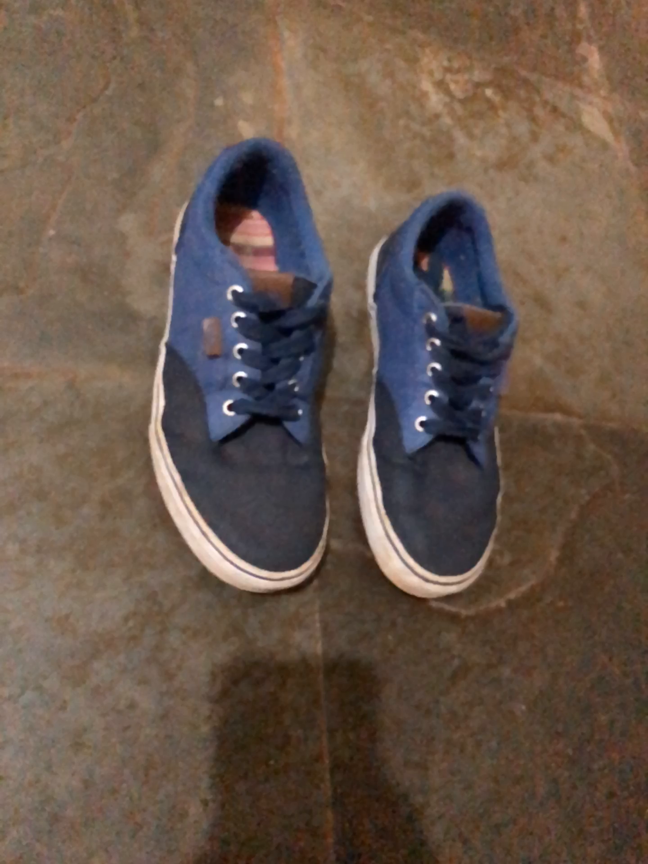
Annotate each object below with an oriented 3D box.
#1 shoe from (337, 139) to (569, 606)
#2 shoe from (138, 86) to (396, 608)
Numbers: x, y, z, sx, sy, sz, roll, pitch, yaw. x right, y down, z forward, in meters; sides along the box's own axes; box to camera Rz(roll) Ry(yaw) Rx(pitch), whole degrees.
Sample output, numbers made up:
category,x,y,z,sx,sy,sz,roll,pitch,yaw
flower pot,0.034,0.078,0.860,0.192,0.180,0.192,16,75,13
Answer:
category,x,y,z,sx,sy,sz,roll,pitch,yaw
shoe,0.075,-0.040,0.485,0.110,0.080,0.291,10,66,-22
shoe,-0.043,-0.049,0.421,0.110,0.080,0.281,4,68,-25
